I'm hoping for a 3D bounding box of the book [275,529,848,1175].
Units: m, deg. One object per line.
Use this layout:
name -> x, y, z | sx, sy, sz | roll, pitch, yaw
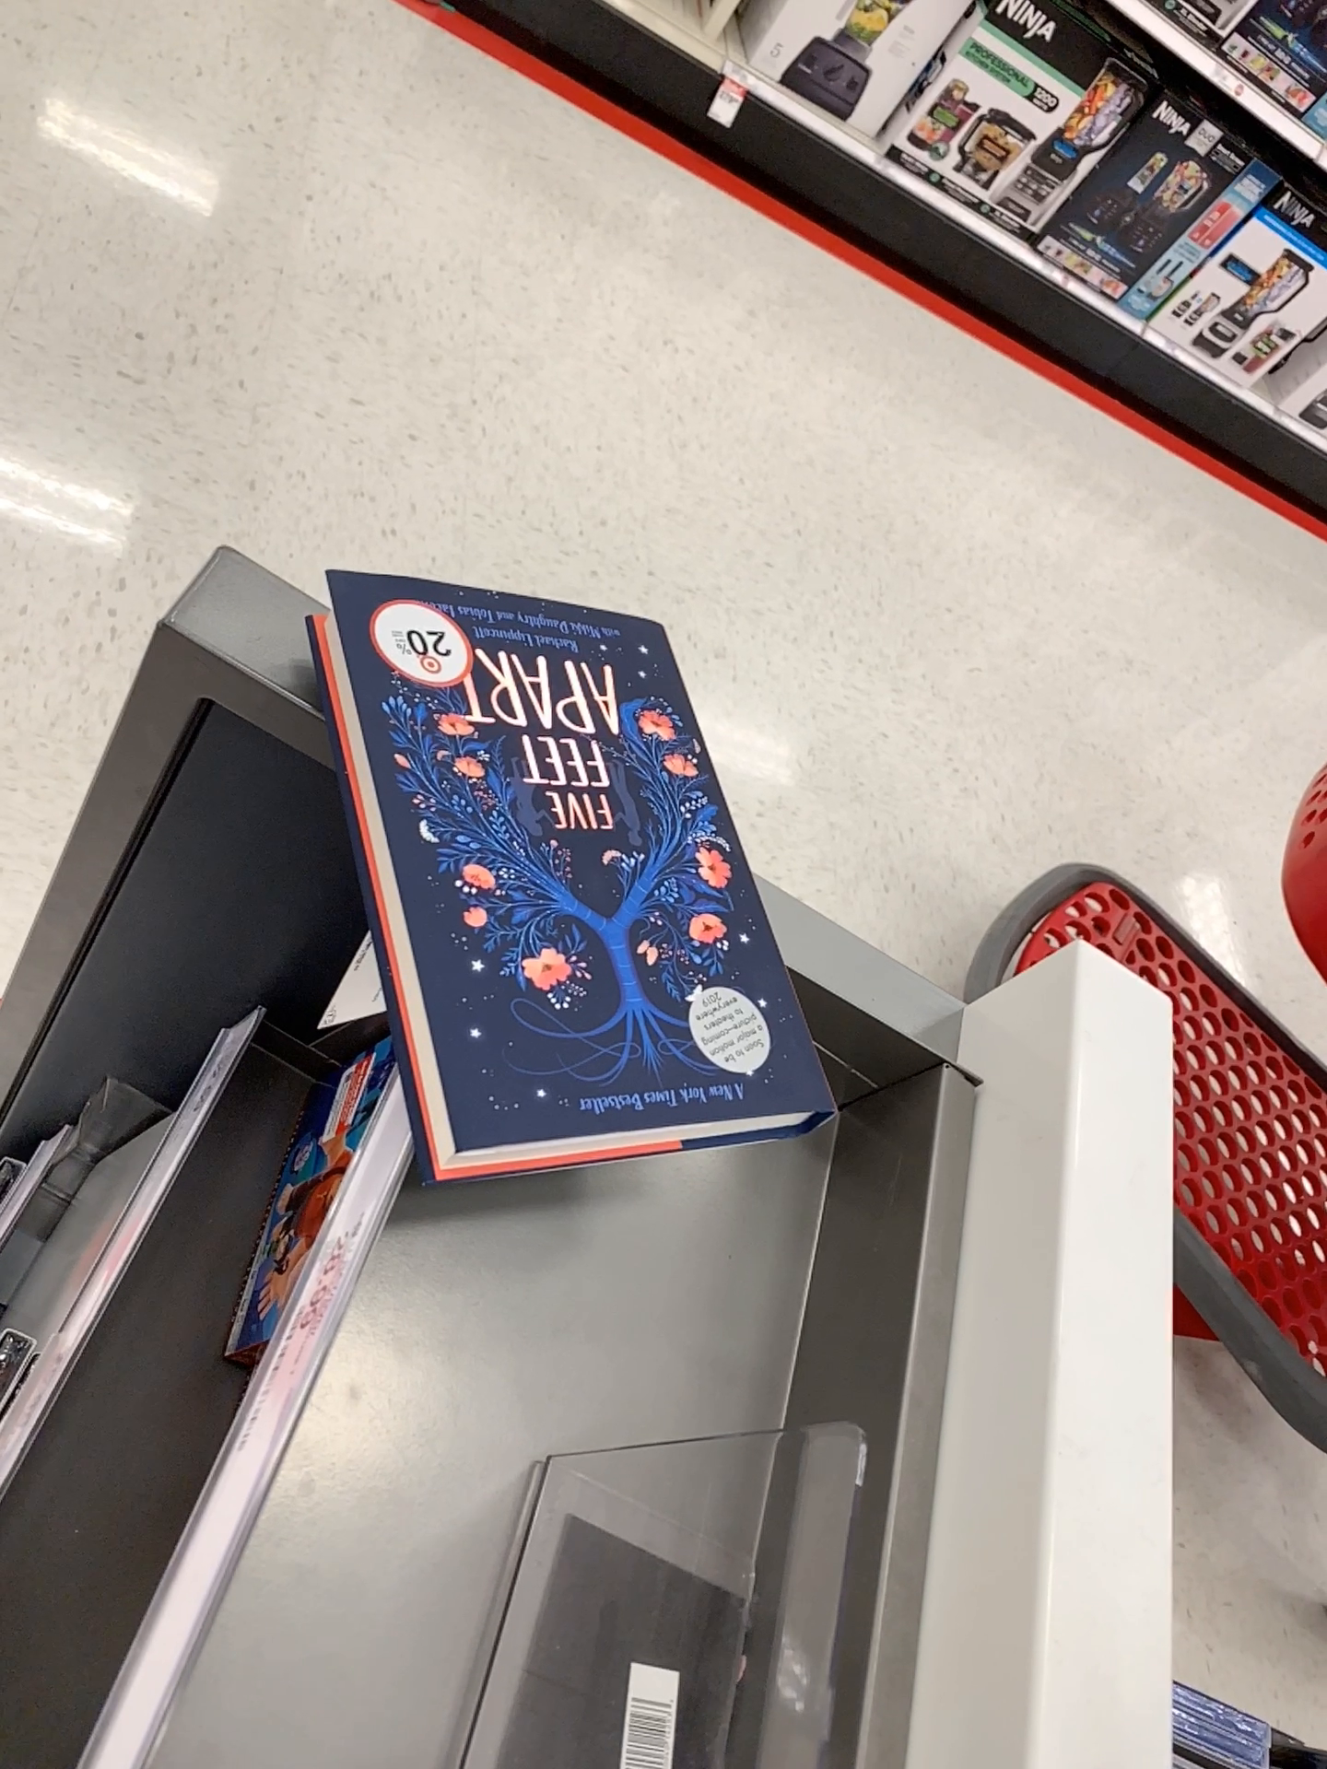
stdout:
book -> -0.038, -0.017, 0.465 | 0.151, 0.028, 0.220 | 2, 57, -36
